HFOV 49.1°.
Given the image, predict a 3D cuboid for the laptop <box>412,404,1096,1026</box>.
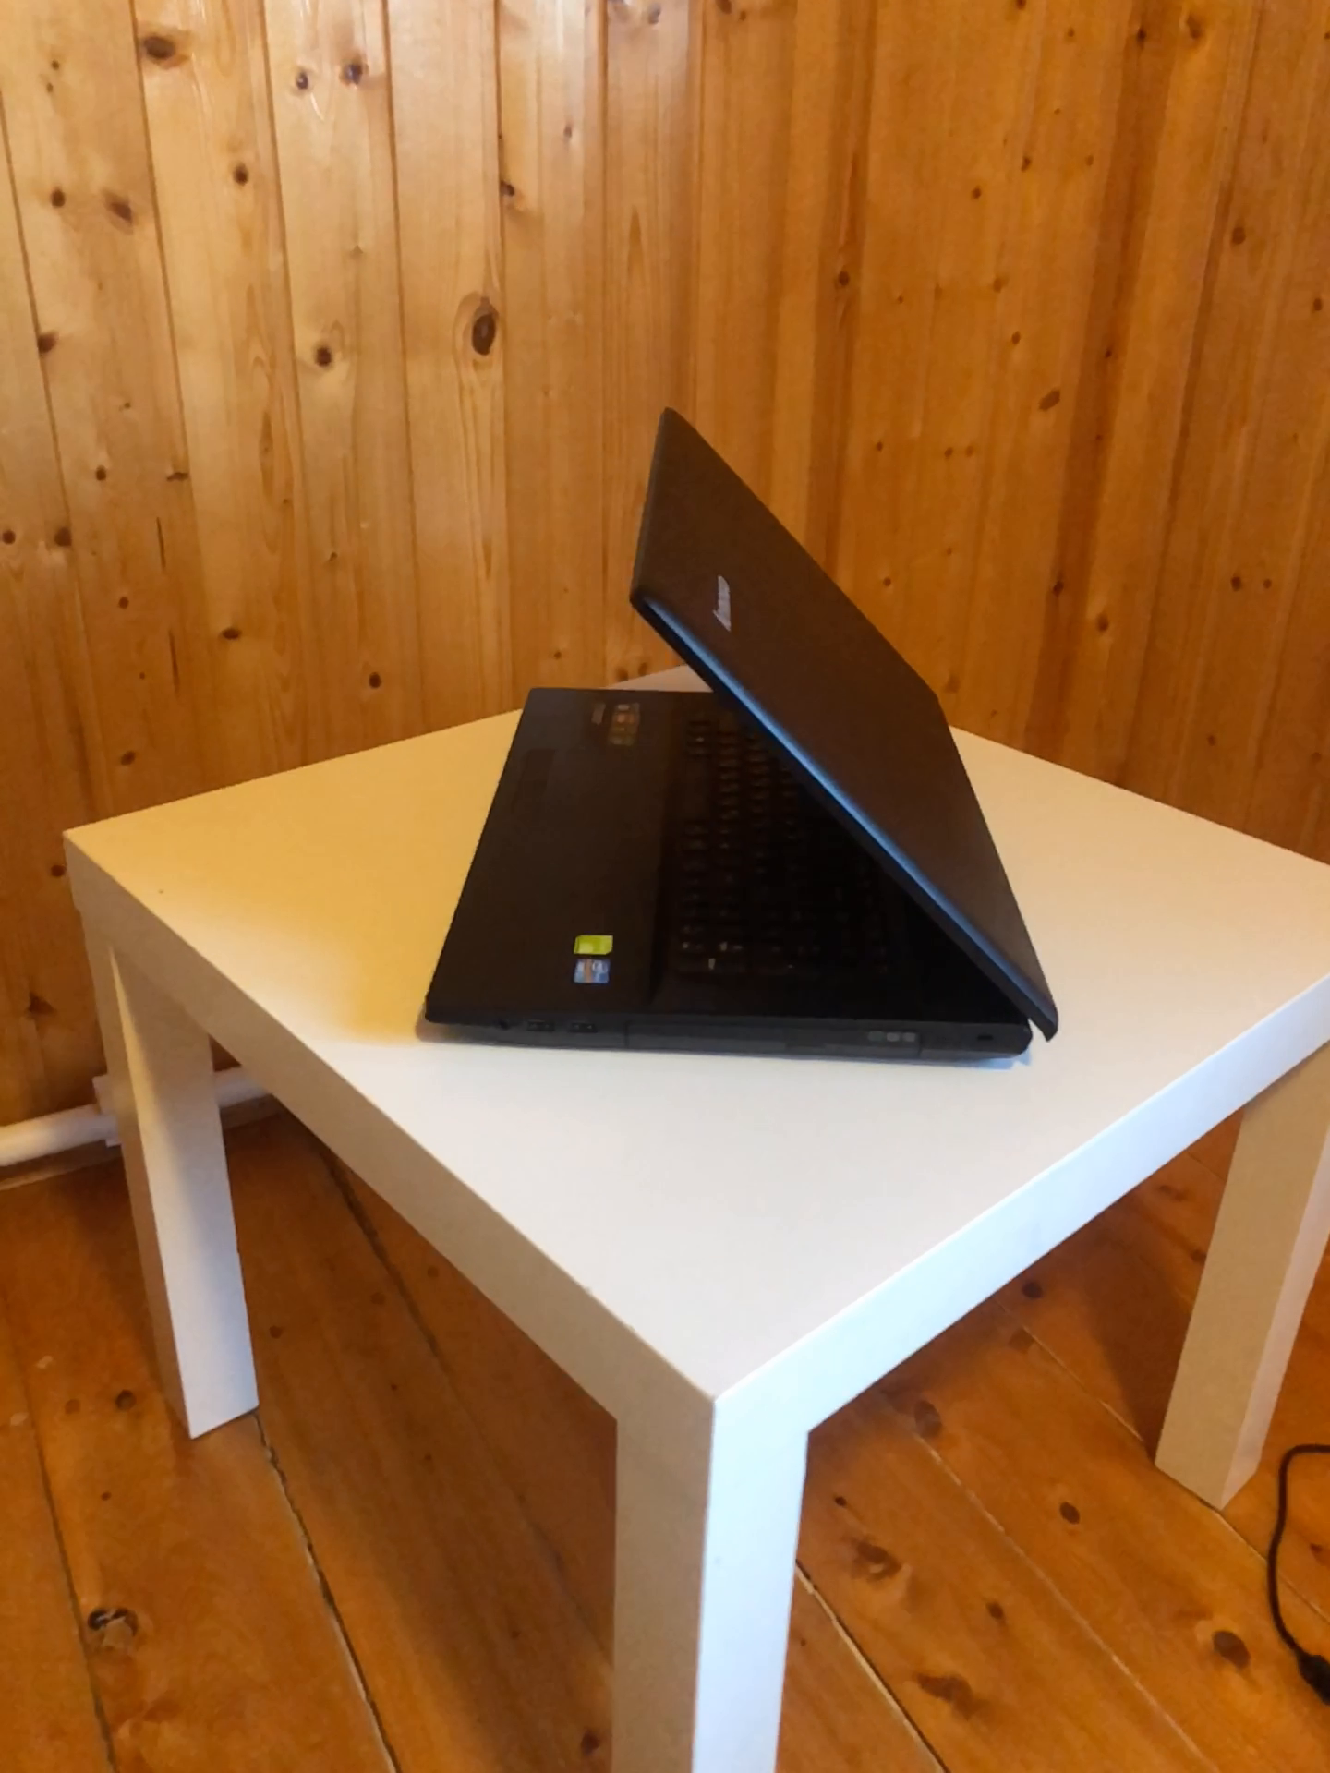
[{"bbox_3d":[0.038,-0.119,0.764,0.260,0.179,0.391,2,29,1],"label":"laptop"}]
